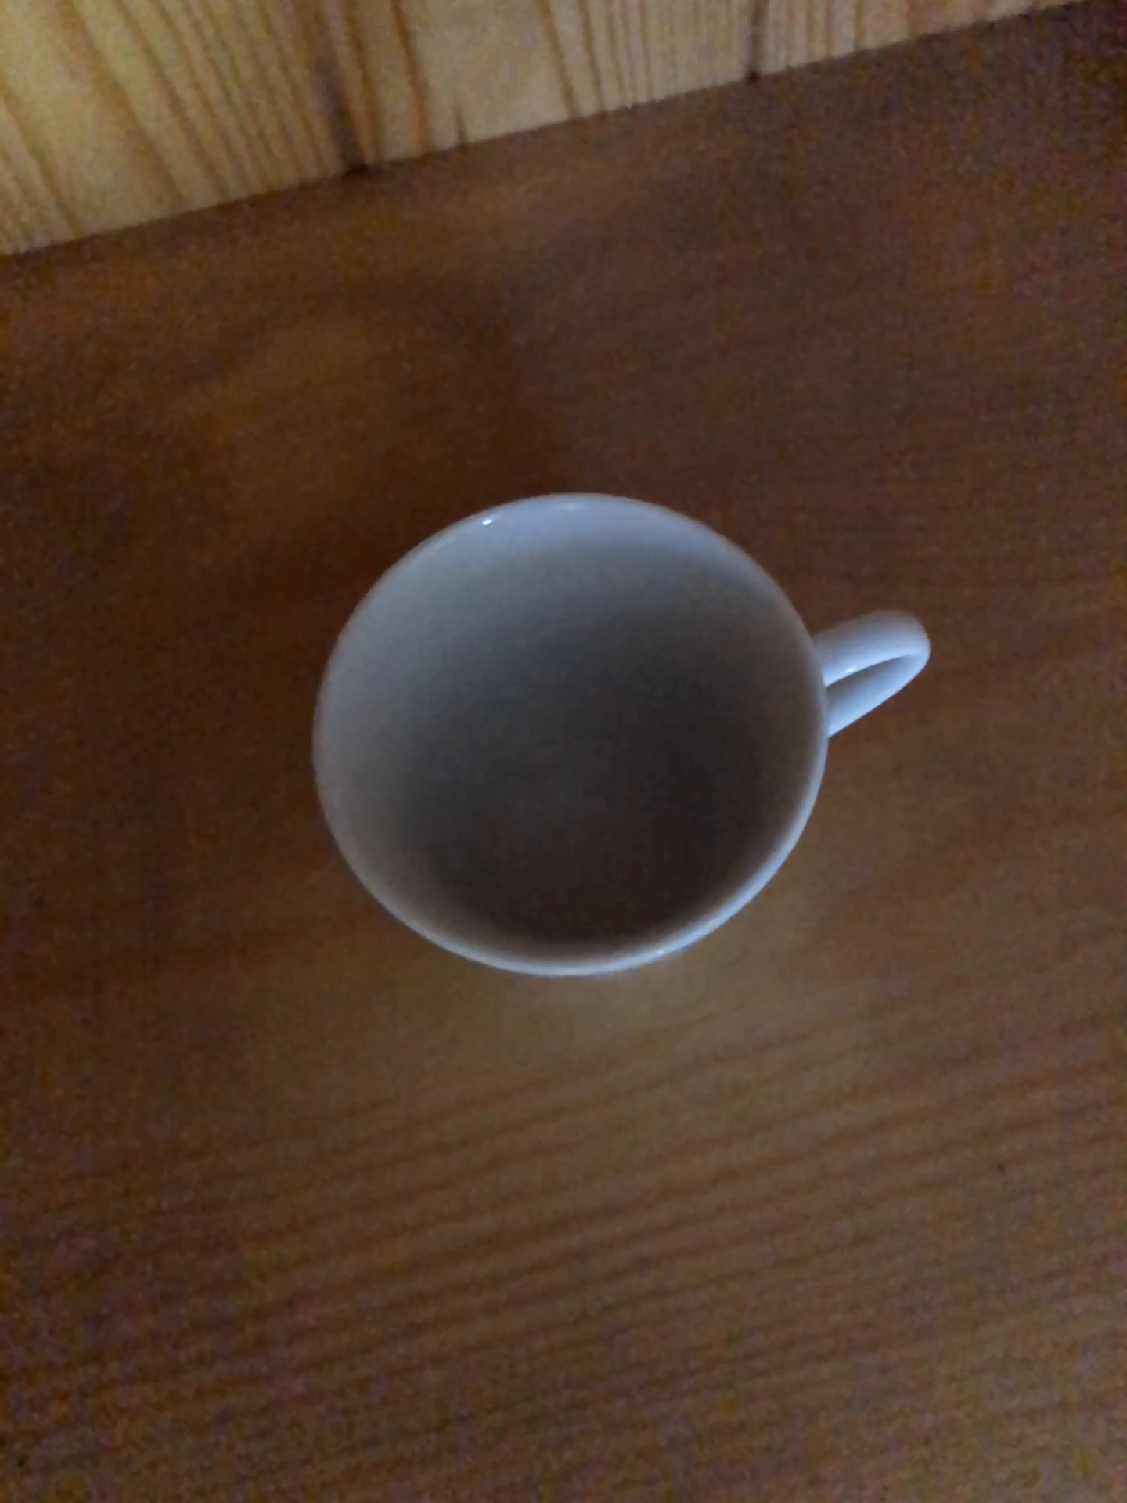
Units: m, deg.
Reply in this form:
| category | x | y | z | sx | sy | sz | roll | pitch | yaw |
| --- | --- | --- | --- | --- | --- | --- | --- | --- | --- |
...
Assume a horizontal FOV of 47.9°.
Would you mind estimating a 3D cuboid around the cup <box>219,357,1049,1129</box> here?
| category | x | y | z | sx | sy | sz | roll | pitch | yaw |
| --- | --- | --- | --- | --- | --- | --- | --- | --- | --- |
| cup | 0.007 | 0.001 | 0.176 | 0.080 | 0.050 | 0.070 | -21 | 67 | -4 |
